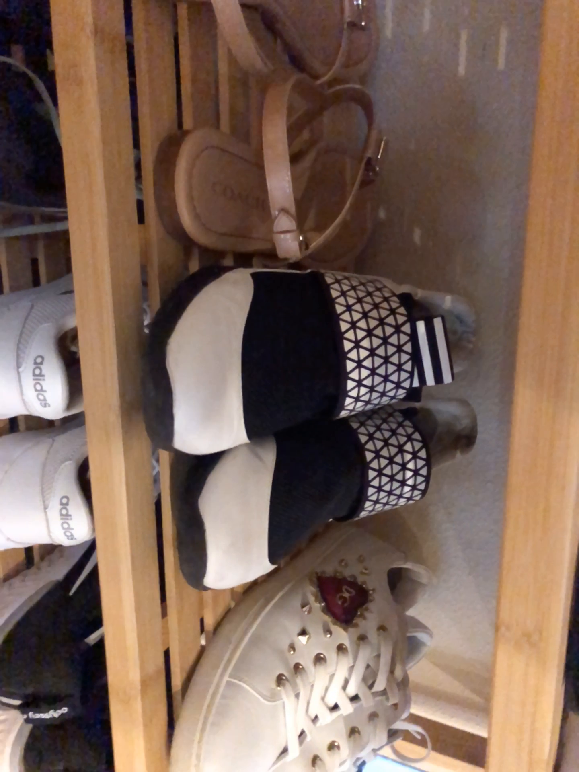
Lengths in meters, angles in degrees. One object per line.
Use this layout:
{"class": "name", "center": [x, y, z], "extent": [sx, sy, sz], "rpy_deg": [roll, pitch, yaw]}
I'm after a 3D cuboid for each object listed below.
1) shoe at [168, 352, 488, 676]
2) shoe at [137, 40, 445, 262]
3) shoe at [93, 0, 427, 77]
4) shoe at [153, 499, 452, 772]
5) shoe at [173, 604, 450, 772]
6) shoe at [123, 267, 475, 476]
{"class": "shoe", "center": [0.050, 0.056, 0.430], "extent": [0.281, 0.076, 0.097], "rpy_deg": [-23, 117, -53]}
{"class": "shoe", "center": [0.023, -0.138, 0.433], "extent": [0.263, 0.081, 0.099], "rpy_deg": [-21, 114, -57]}
{"class": "shoe", "center": [0.006, -0.278, 0.407], "extent": [0.263, 0.074, 0.092], "rpy_deg": [-21, 114, -57]}
{"class": "shoe", "center": [0.030, 0.182, 0.451], "extent": [0.257, 0.068, 0.092], "rpy_deg": [-25, 119, -49]}
{"class": "shoe", "center": [0.034, 0.273, 0.464], "extent": [0.244, 0.068, 0.092], "rpy_deg": [-25, 119, -49]}
{"class": "shoe", "center": [0.029, -0.028, 0.388], "extent": [0.264, 0.068, 0.086], "rpy_deg": [-14, 108, -52]}
